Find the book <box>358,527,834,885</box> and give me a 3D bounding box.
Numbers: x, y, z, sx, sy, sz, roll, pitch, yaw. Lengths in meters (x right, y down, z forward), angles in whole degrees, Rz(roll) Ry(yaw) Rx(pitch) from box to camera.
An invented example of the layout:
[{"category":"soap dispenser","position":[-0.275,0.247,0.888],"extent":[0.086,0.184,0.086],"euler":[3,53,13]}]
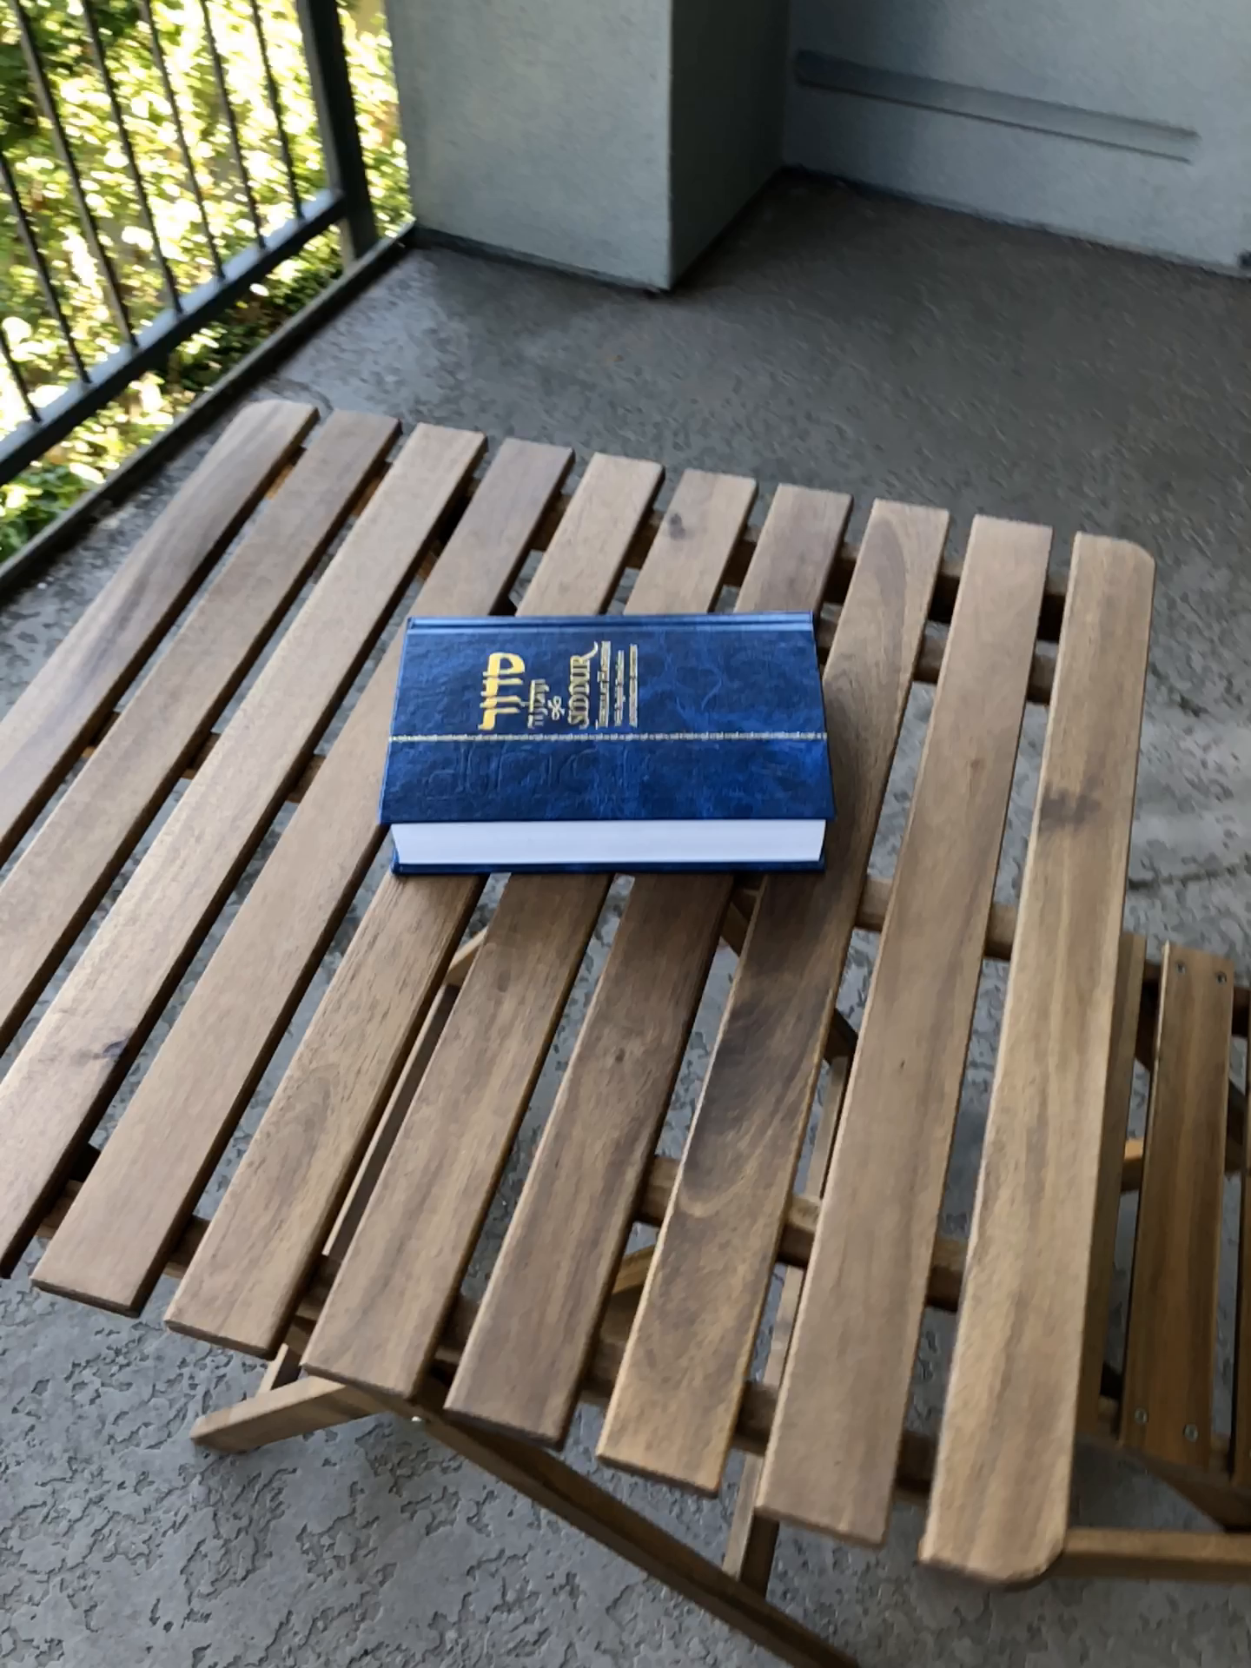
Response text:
[{"category":"book","position":[-0.012,-0.075,0.758],"extent":[0.230,0.070,0.201],"euler":[1,52,2]}]
